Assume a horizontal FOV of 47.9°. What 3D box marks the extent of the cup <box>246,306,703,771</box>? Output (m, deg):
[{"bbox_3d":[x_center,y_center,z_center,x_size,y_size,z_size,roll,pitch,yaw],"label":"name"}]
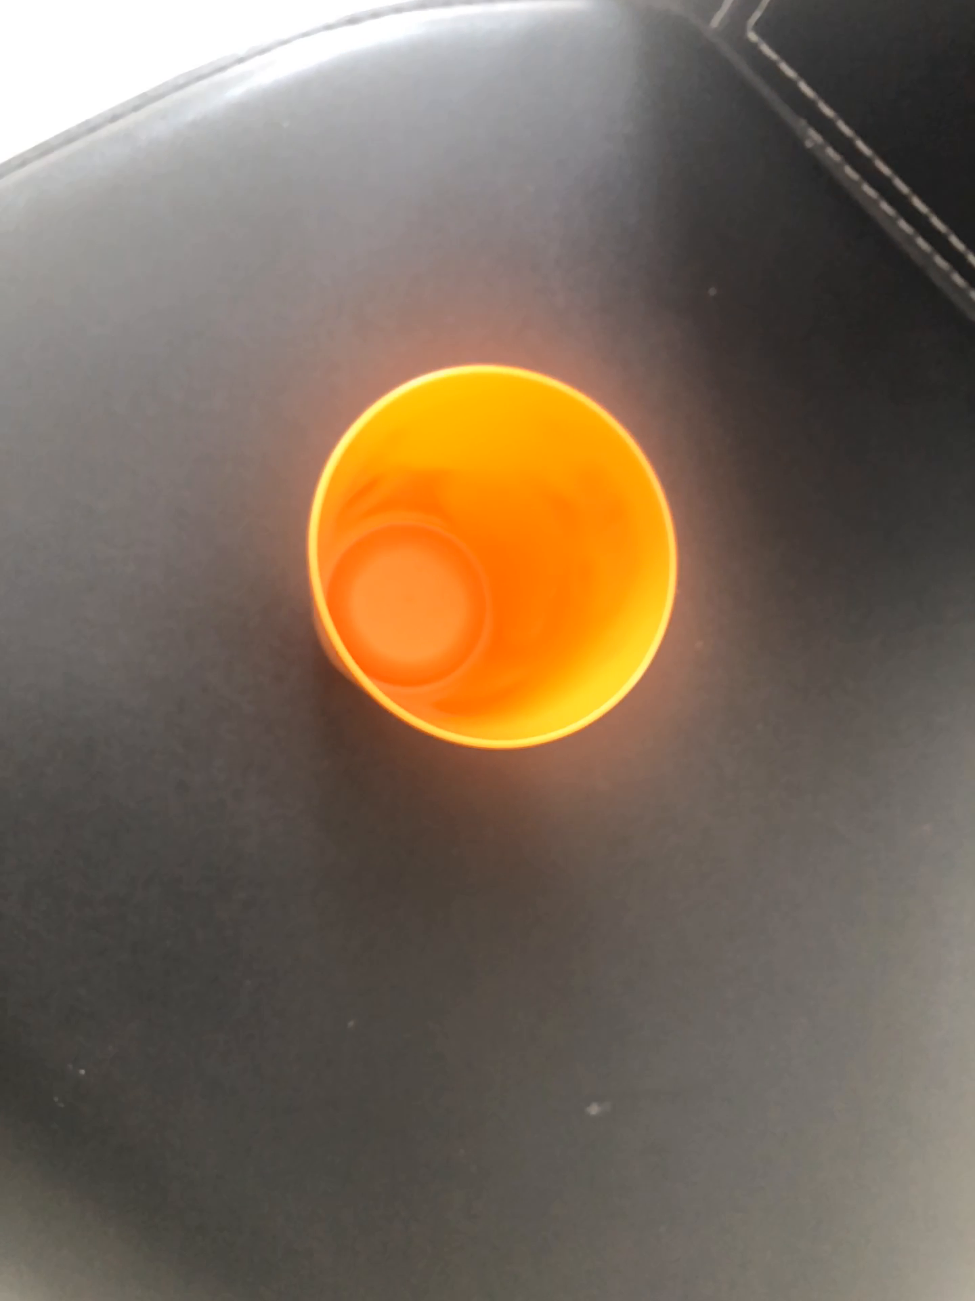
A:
[{"bbox_3d":[-0.009,-0.018,0.269,0.080,0.090,0.080,1,84,-14],"label":"cup"}]
